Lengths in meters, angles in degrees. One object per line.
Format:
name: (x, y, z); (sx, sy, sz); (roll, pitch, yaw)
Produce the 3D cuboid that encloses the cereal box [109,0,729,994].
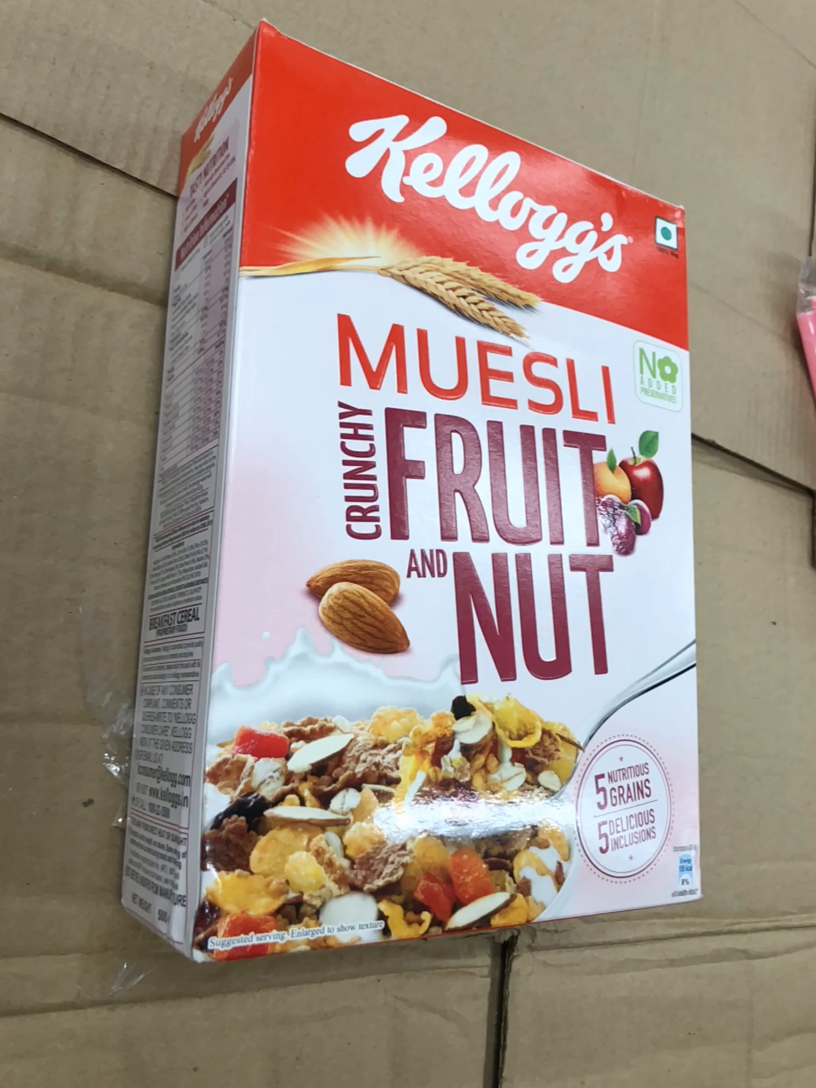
cereal box: (0.008, -0.011, 0.296); (0.171, 0.080, 0.250); (7, 77, -31)
